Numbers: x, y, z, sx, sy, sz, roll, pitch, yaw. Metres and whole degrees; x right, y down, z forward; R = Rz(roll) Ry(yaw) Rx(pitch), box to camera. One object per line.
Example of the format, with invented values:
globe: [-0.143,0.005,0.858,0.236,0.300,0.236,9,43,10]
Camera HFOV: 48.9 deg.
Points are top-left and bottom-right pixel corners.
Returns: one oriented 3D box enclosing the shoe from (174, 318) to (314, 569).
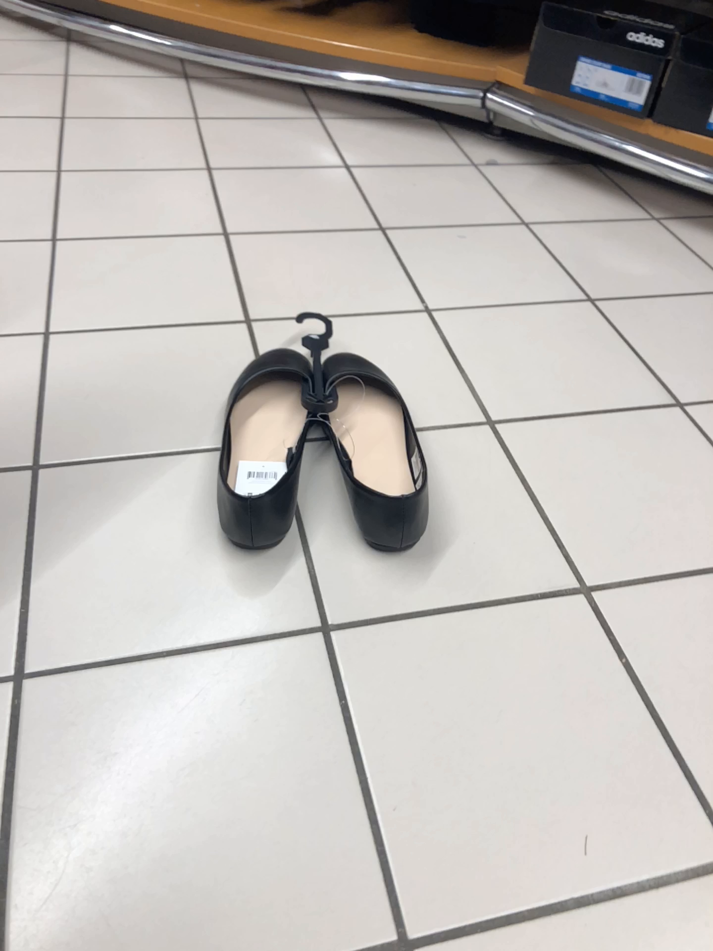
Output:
shoe: [-0.086,-0.039,0.664,0.080,0.060,0.251,4,42,-2]

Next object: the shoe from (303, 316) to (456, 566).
shoe: [0.010,-0.042,0.662,0.080,0.060,0.251,-3,43,-10]
